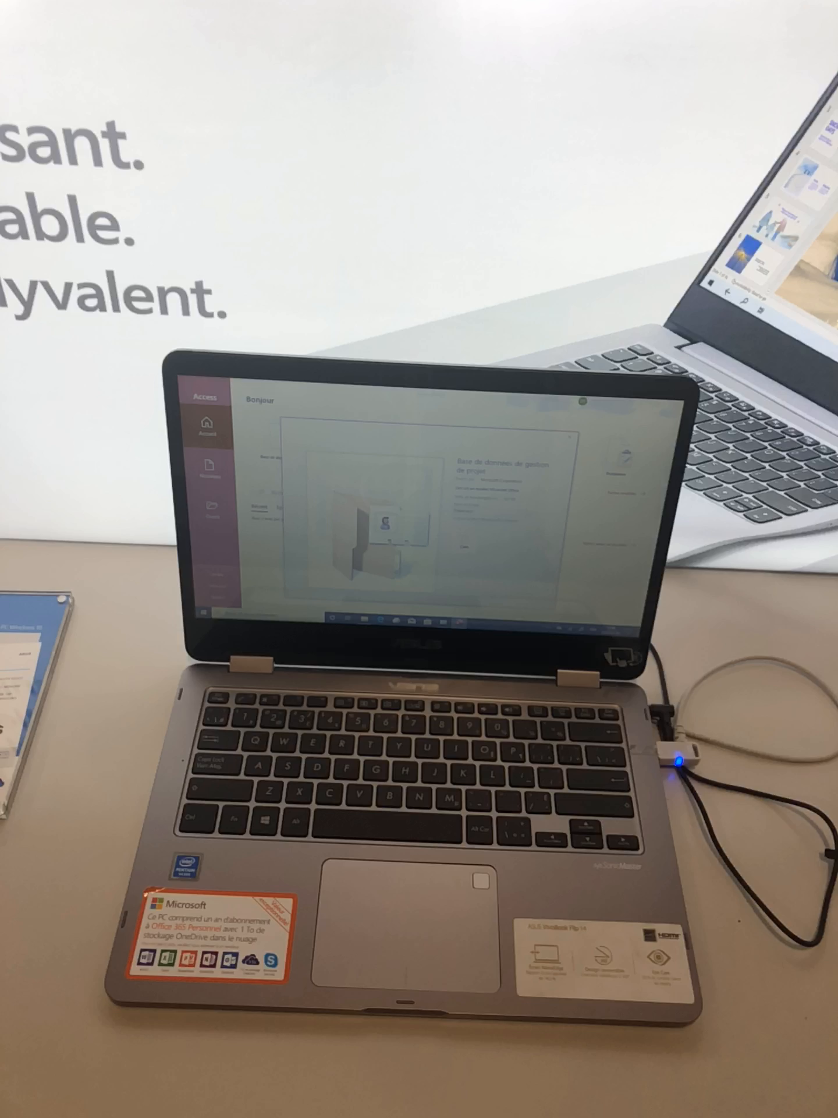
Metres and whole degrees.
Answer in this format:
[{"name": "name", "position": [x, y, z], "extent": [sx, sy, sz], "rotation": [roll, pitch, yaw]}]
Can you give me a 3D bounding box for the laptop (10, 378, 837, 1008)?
[{"name": "laptop", "position": [0.002, 0.069, 0.520], "extent": [0.311, 0.214, 0.273], "rotation": [3, 44, -1]}]
